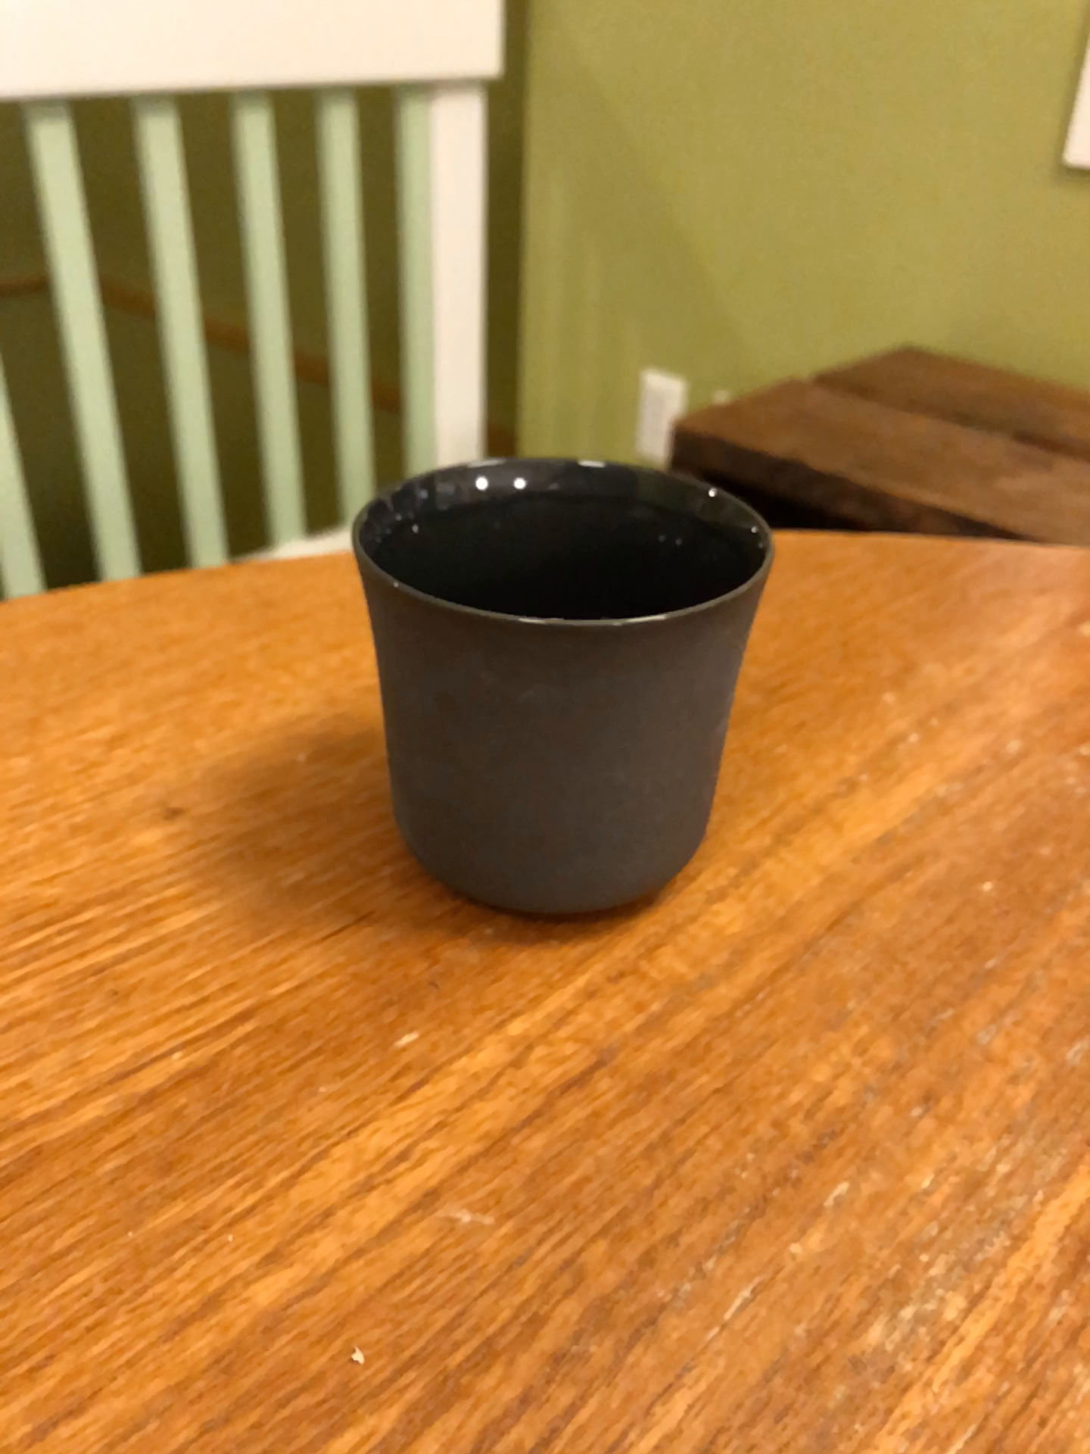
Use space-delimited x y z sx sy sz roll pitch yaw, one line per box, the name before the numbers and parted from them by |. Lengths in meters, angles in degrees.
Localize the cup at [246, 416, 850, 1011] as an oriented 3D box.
cup | 0.001 -0.009 0.237 0.079 0.068 0.075 2 32 -1
